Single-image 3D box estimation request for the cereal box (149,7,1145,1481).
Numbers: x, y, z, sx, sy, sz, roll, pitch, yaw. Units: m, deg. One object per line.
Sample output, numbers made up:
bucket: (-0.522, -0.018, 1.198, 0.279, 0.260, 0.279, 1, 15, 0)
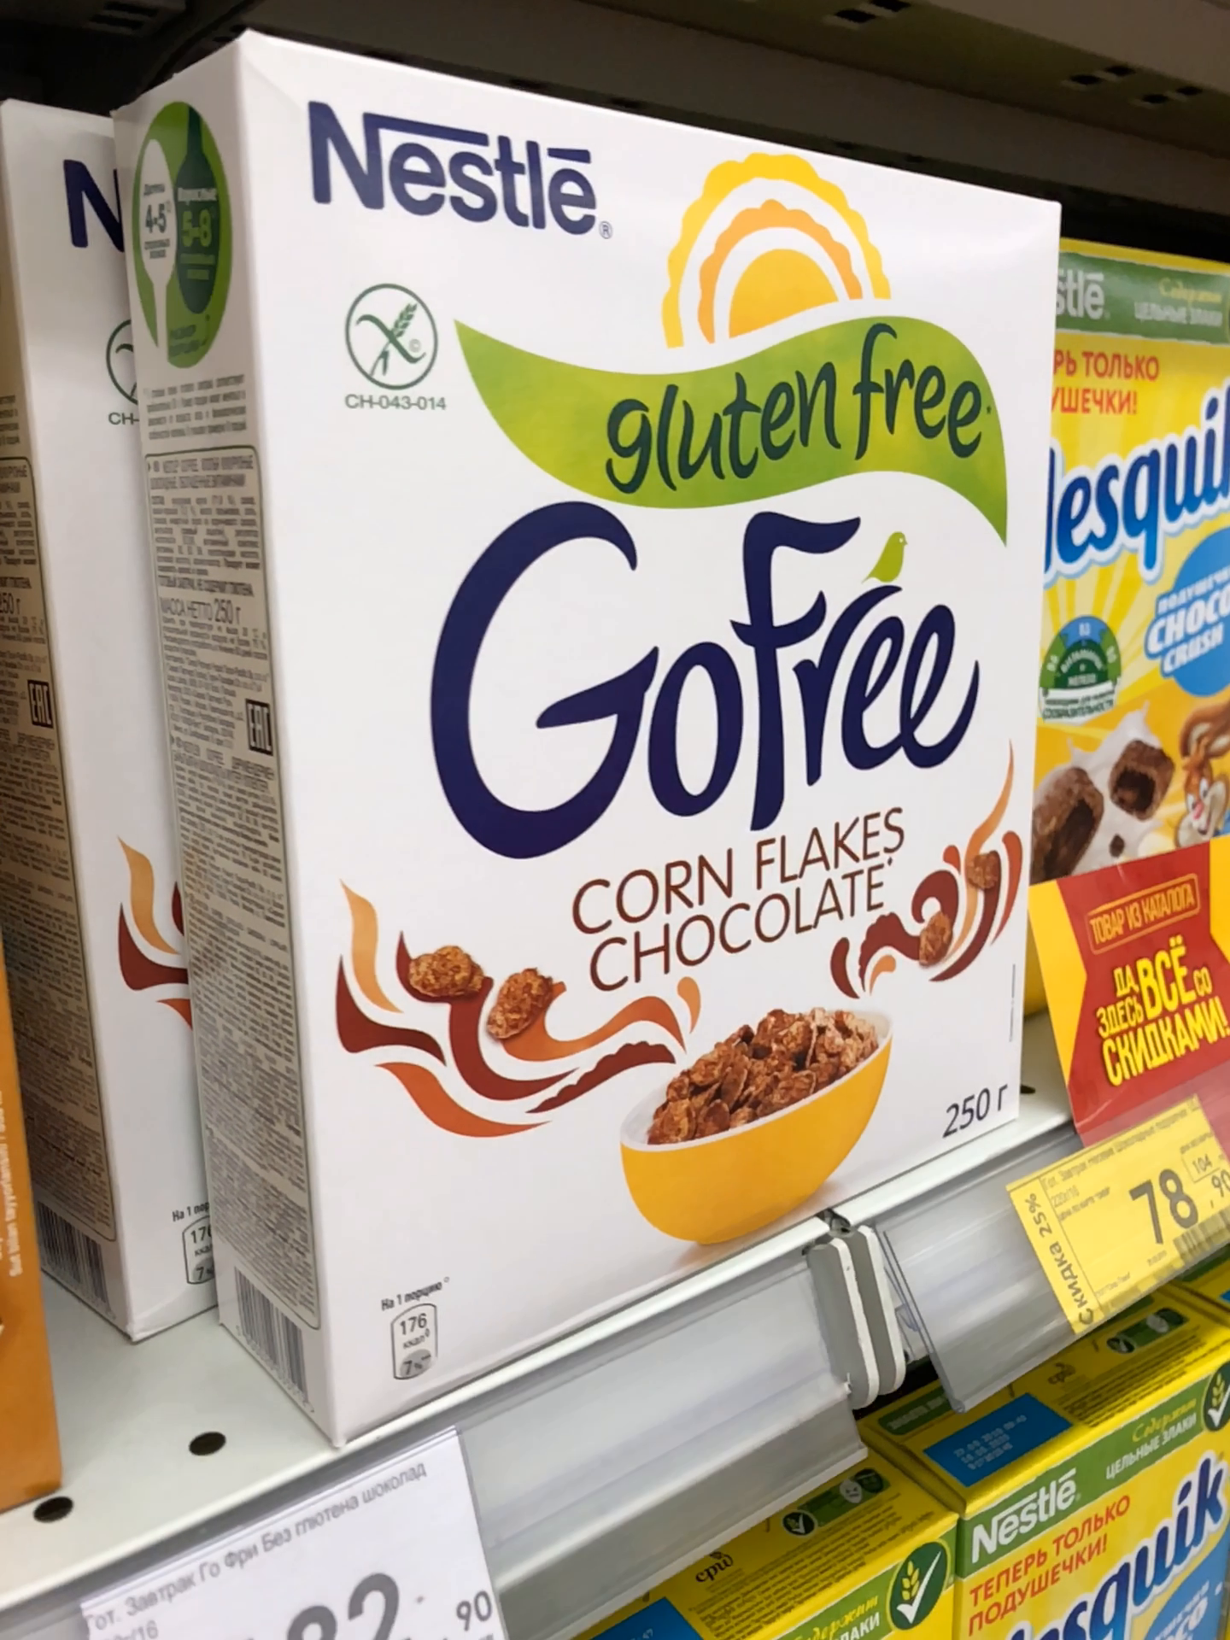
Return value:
cereal box: (0.022, -0.018, 0.279, 0.200, 0.219, 0.050, -10, 15, -36)
